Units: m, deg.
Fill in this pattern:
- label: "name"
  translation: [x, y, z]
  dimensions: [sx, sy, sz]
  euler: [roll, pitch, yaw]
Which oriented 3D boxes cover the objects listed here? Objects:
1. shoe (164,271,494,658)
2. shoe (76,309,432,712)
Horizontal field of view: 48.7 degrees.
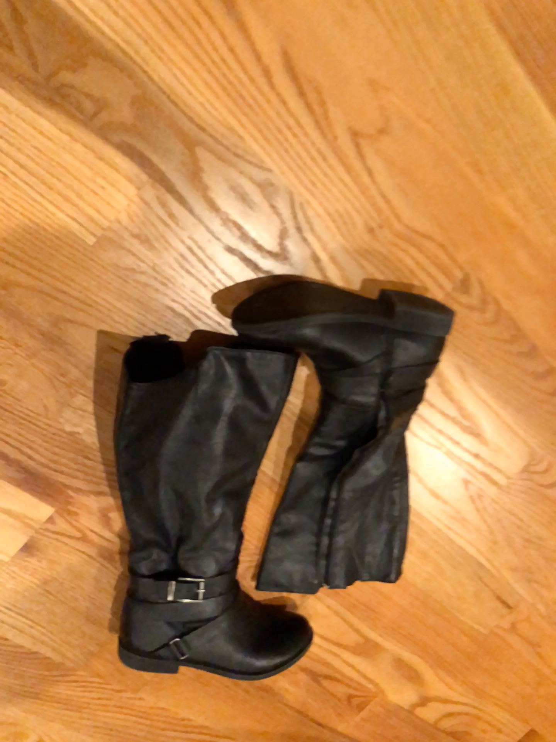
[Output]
- label: "shoe"
  translation: [0.039, 0.116, 0.666]
  dimensions: [0.250, 0.094, 0.394]
  euler: [7, 109, -19]
- label: "shoe"
  translation: [-0.043, 0.160, 0.660]
  dimensions: [0.290, 0.104, 0.404]
  euler: [6, 110, -19]
